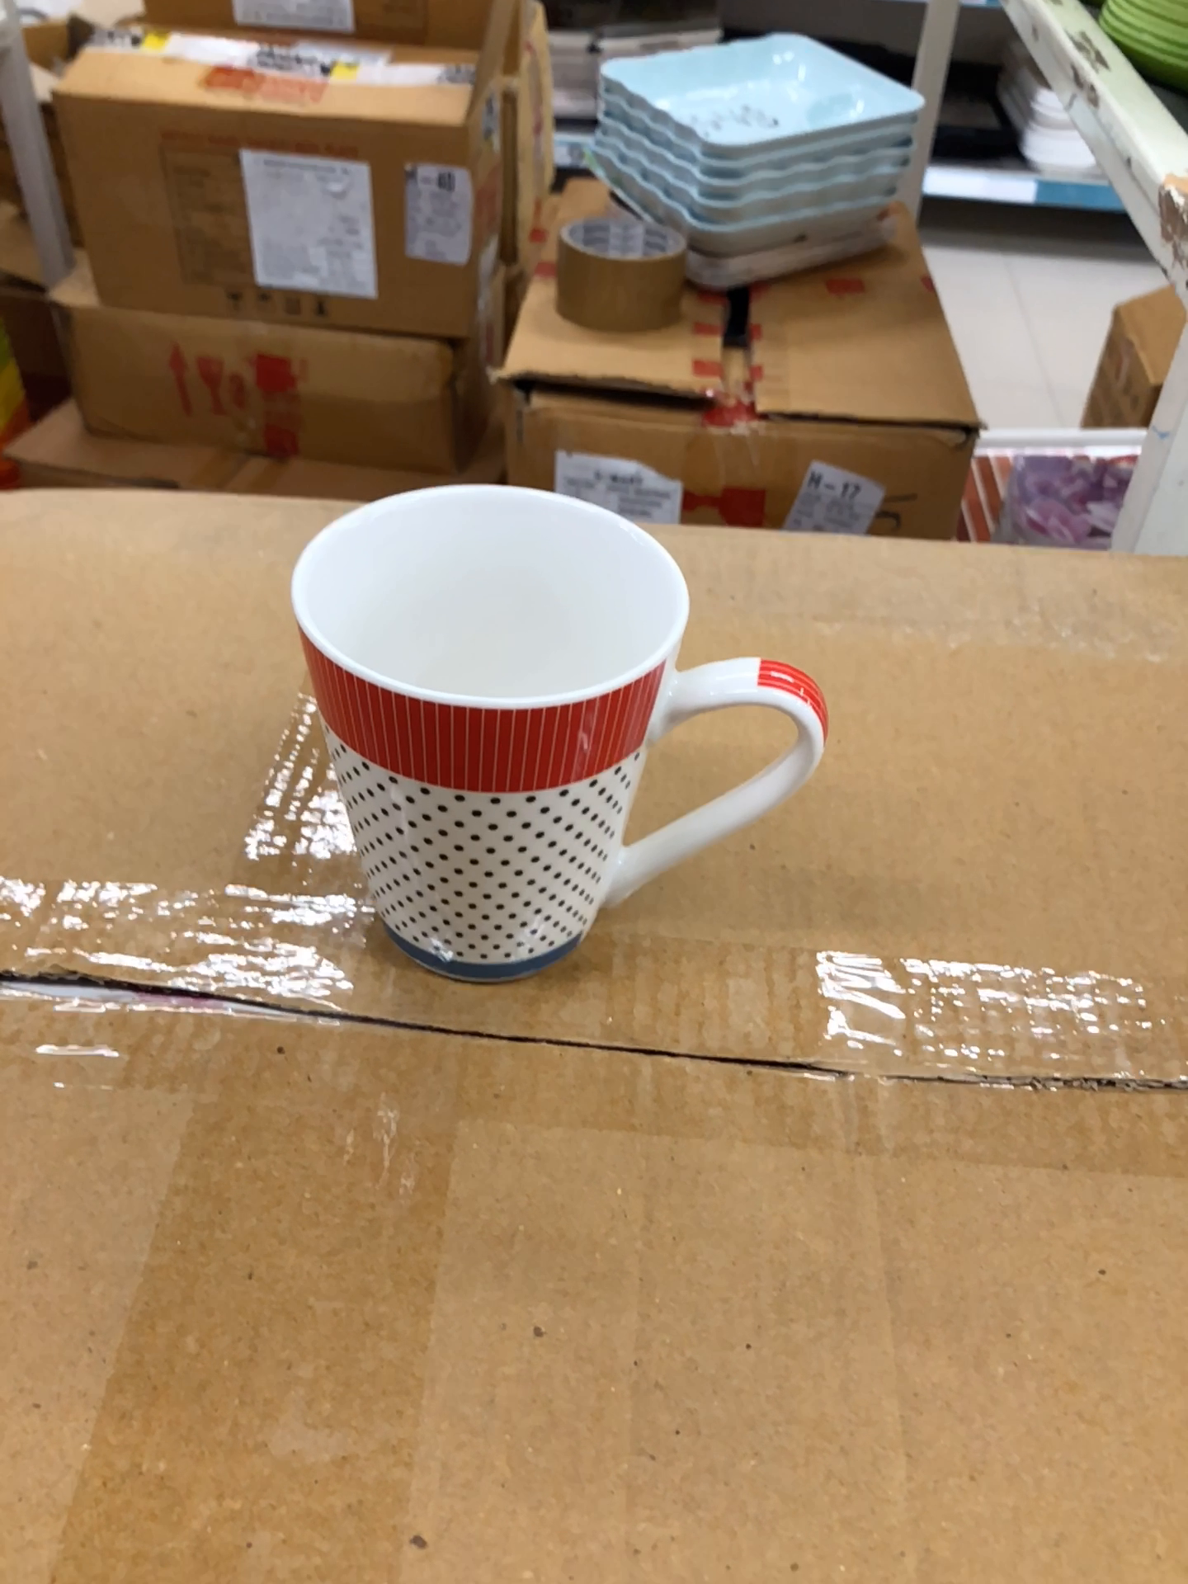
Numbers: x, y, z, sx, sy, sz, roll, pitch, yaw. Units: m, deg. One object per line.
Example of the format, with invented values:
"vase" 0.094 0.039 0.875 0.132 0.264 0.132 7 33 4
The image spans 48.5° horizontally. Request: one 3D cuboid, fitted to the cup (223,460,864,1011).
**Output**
"cup" -0.011 -0.014 0.311 0.120 0.089 0.091 1 41 -2
